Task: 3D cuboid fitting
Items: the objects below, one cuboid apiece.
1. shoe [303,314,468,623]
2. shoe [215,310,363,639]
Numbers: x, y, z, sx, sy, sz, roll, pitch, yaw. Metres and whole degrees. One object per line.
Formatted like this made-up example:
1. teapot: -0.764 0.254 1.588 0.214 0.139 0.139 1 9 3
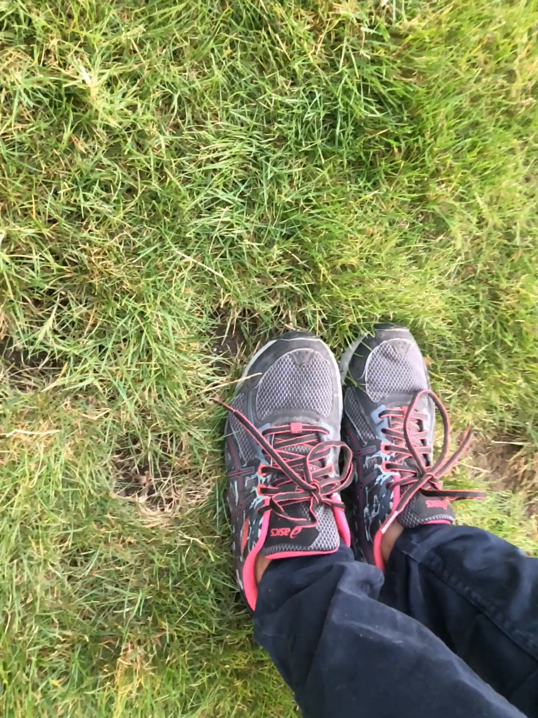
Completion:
1. shoe: 0.104 0.091 0.551 0.090 0.120 0.250 4 88 -22
2. shoe: 0.013 0.090 0.515 0.088 0.120 0.245 3 86 -19
